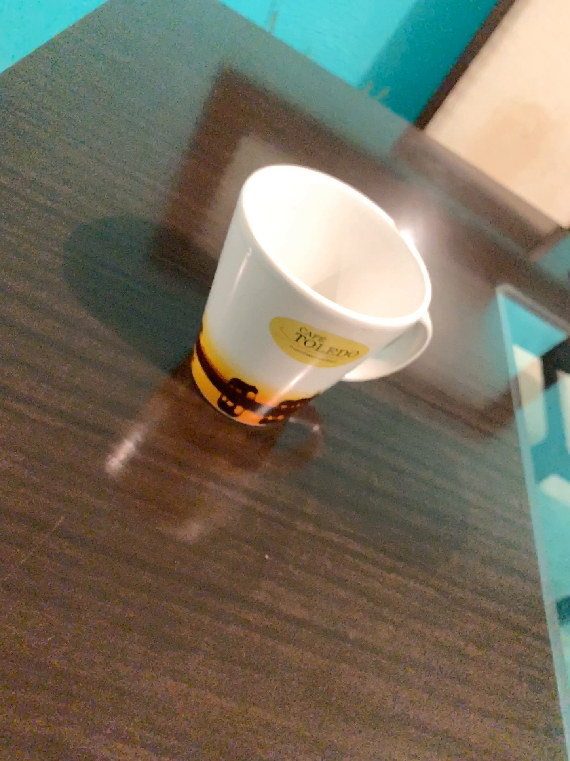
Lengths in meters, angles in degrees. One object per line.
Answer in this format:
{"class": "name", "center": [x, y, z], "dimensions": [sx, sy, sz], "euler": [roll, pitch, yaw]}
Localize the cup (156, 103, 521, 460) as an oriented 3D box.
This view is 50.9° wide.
{"class": "cup", "center": [0.014, -0.034, 0.247], "dimensions": [0.110, 0.080, 0.090], "euler": [13, 48, -26]}
